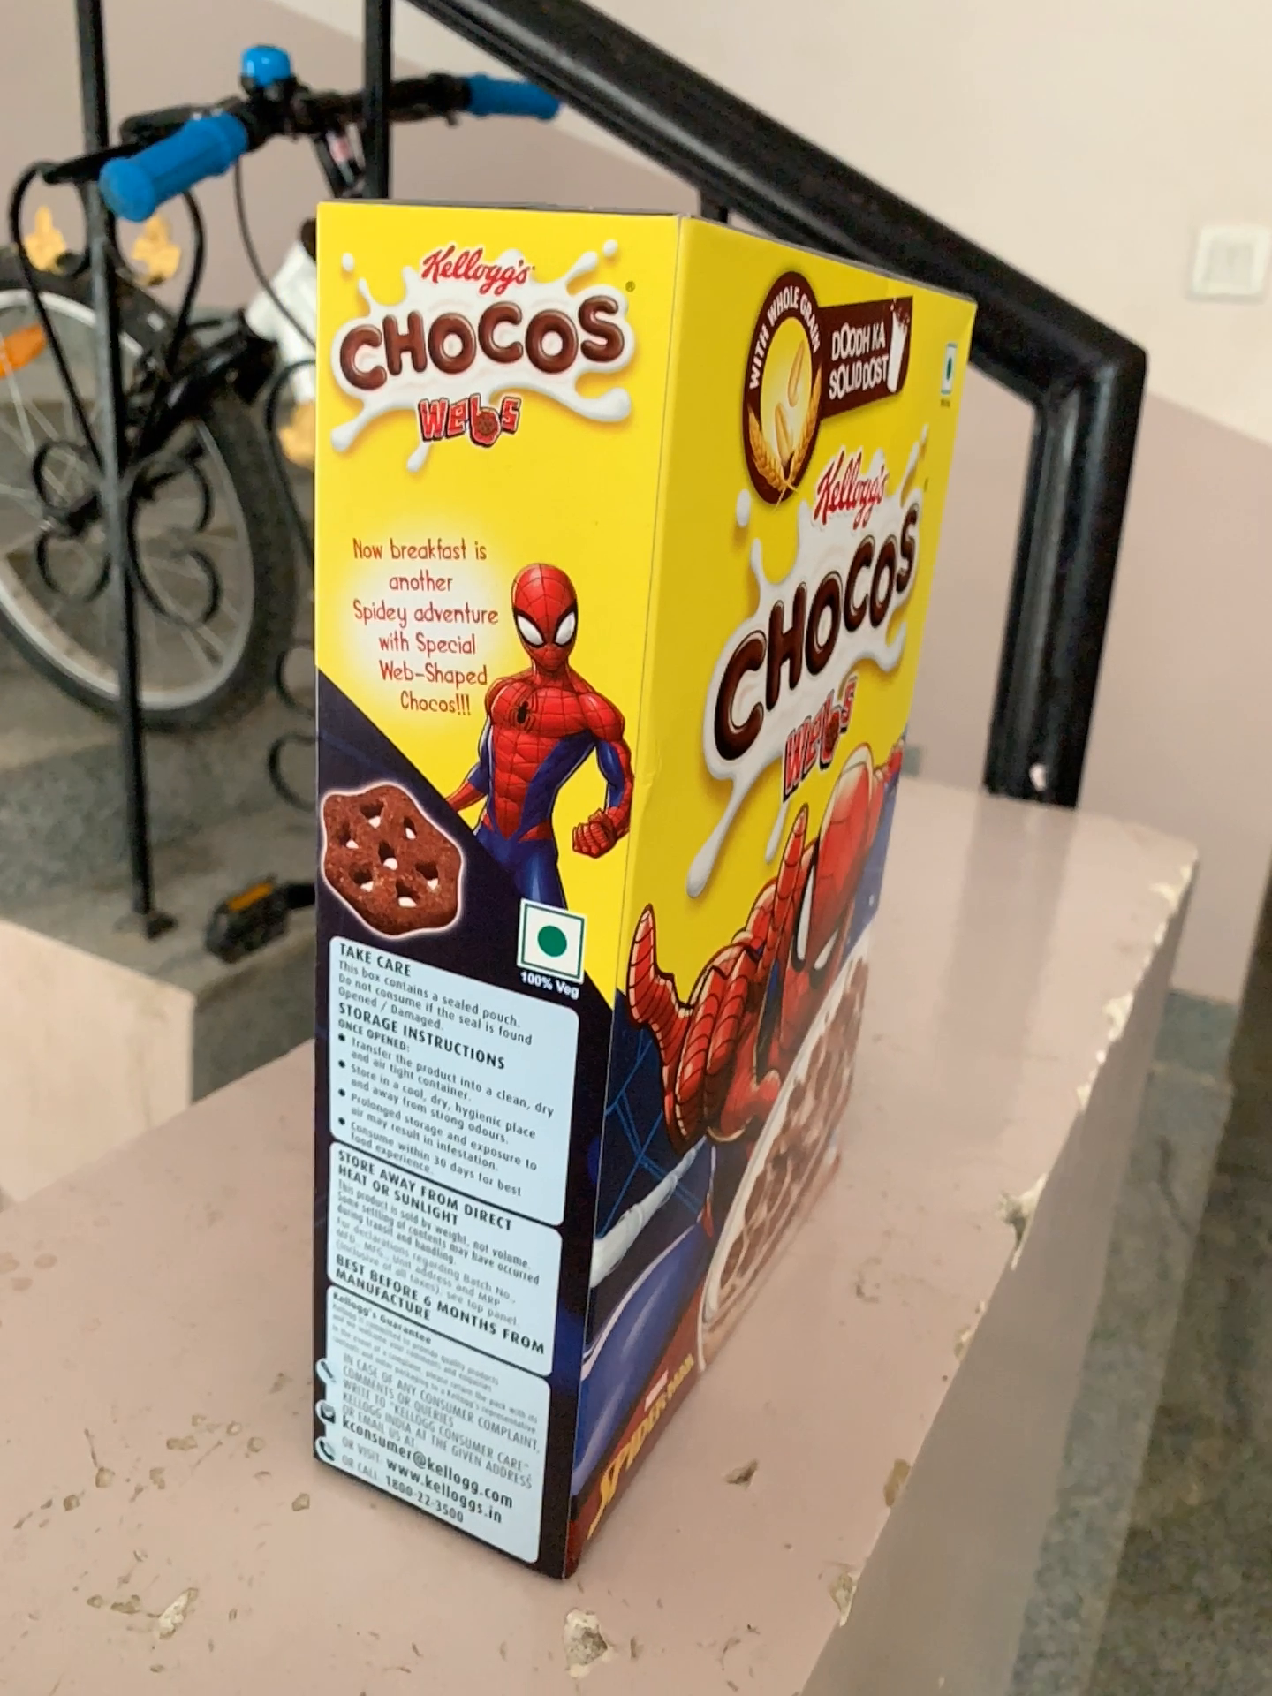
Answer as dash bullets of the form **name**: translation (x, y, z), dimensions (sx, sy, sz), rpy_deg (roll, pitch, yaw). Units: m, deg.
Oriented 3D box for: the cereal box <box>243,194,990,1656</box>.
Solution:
- **cereal box**: translation (0.005, 0.001, 0.304), dimensions (0.070, 0.248, 0.191), rpy_deg (13, 22, 23)
